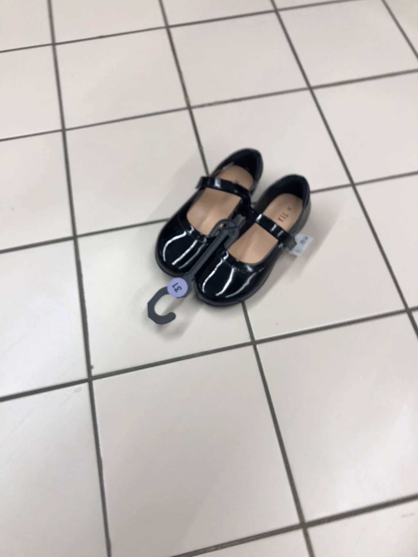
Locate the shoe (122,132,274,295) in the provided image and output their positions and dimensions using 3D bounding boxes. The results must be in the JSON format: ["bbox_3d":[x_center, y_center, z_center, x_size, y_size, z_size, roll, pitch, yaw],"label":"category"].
[{"bbox_3d":[-0.009,-0.087,0.593,0.079,0.056,0.205,34,68,16],"label":"shoe"}]

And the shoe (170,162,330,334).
[{"bbox_3d":[0.053,-0.042,0.572,0.079,0.052,0.211,35,69,16],"label":"shoe"}]
